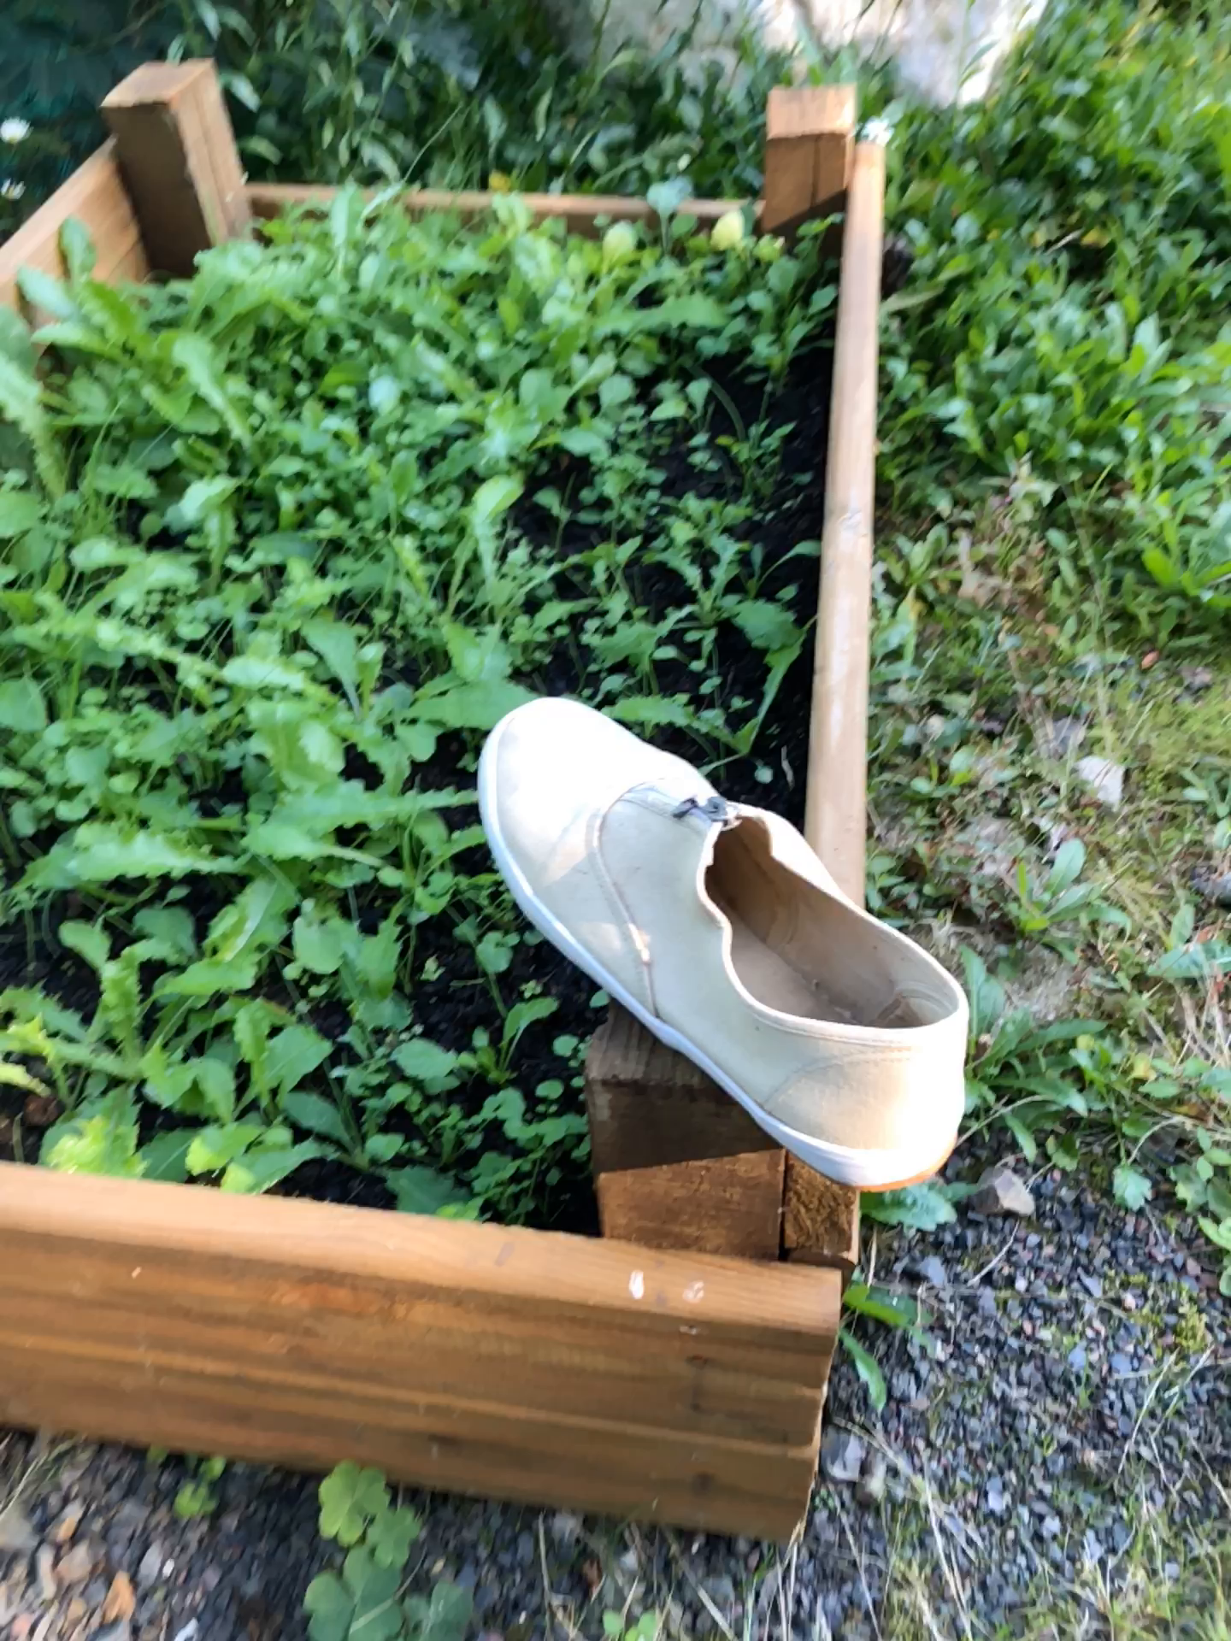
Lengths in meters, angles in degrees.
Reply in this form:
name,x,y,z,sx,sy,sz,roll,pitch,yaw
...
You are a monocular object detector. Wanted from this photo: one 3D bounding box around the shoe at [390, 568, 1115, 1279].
name,x,y,z,sx,sy,sz,roll,pitch,yaw
shoe,0.035,0.020,0.496,0.110,0.070,0.261,-28,54,-24
